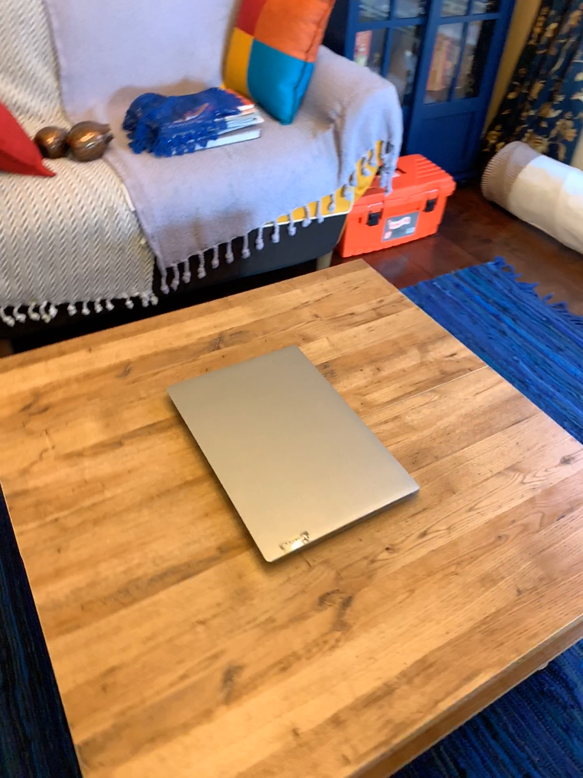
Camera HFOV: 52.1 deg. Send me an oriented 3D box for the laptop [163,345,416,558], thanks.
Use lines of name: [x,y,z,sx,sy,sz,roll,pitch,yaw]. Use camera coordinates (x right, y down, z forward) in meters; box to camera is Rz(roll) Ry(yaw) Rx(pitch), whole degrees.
laptop: [-0.016,0.066,0.892,0.237,0.011,0.348,-19,47,-24]
